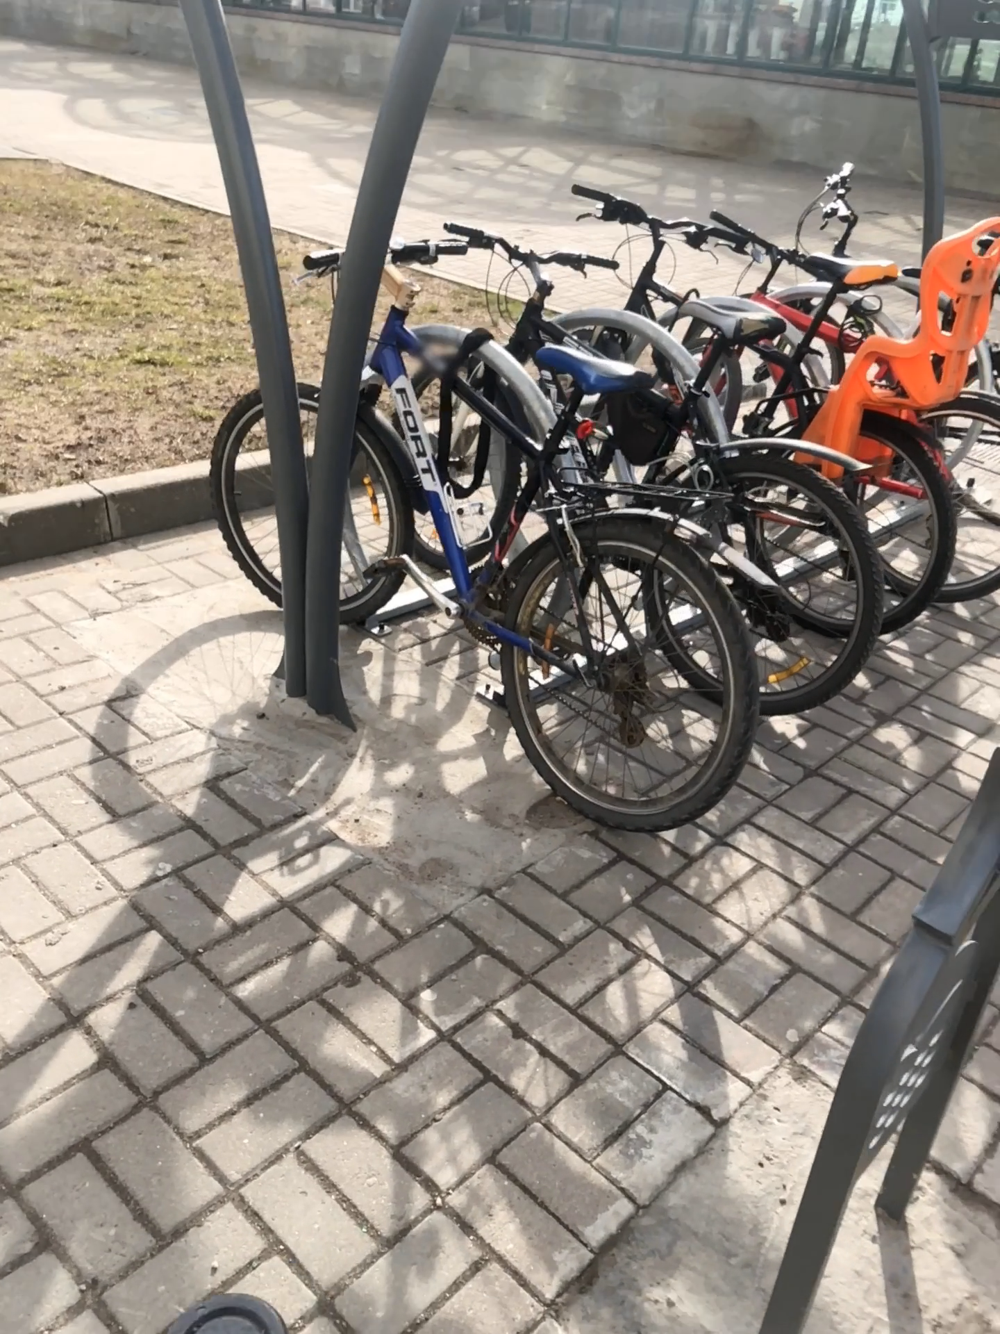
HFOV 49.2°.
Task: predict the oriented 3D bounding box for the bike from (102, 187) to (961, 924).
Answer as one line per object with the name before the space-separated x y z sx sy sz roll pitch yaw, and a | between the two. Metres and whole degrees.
bike | -0.075 -0.380 2.399 1.663 0.959 0.628 29 38 33
